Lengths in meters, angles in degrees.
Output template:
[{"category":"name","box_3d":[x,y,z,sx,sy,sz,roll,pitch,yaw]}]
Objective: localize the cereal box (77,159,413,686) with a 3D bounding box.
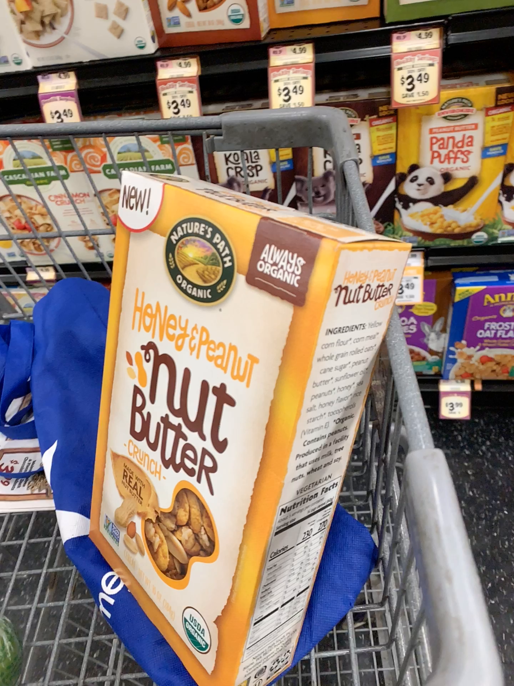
[{"category":"cereal box","box_3d":[-0.031,0.040,0.287,0.050,0.239,0.161,-8,28,-42]}]
